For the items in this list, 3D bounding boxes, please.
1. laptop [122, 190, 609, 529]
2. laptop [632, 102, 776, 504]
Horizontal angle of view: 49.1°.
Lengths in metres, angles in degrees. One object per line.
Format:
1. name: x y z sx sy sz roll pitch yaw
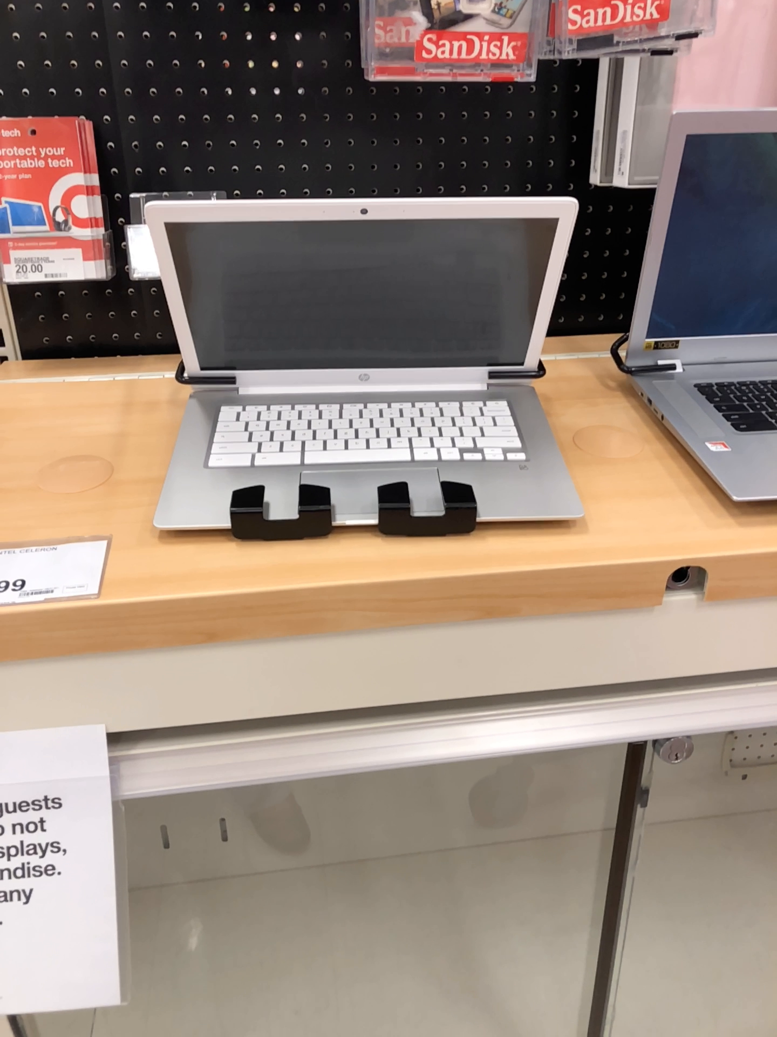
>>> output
1. laptop: -0.020 -0.136 0.679 0.322 0.172 0.201 -2 33 -3
2. laptop: 0.408 -0.188 0.696 0.320 0.231 0.231 -4 30 -2
